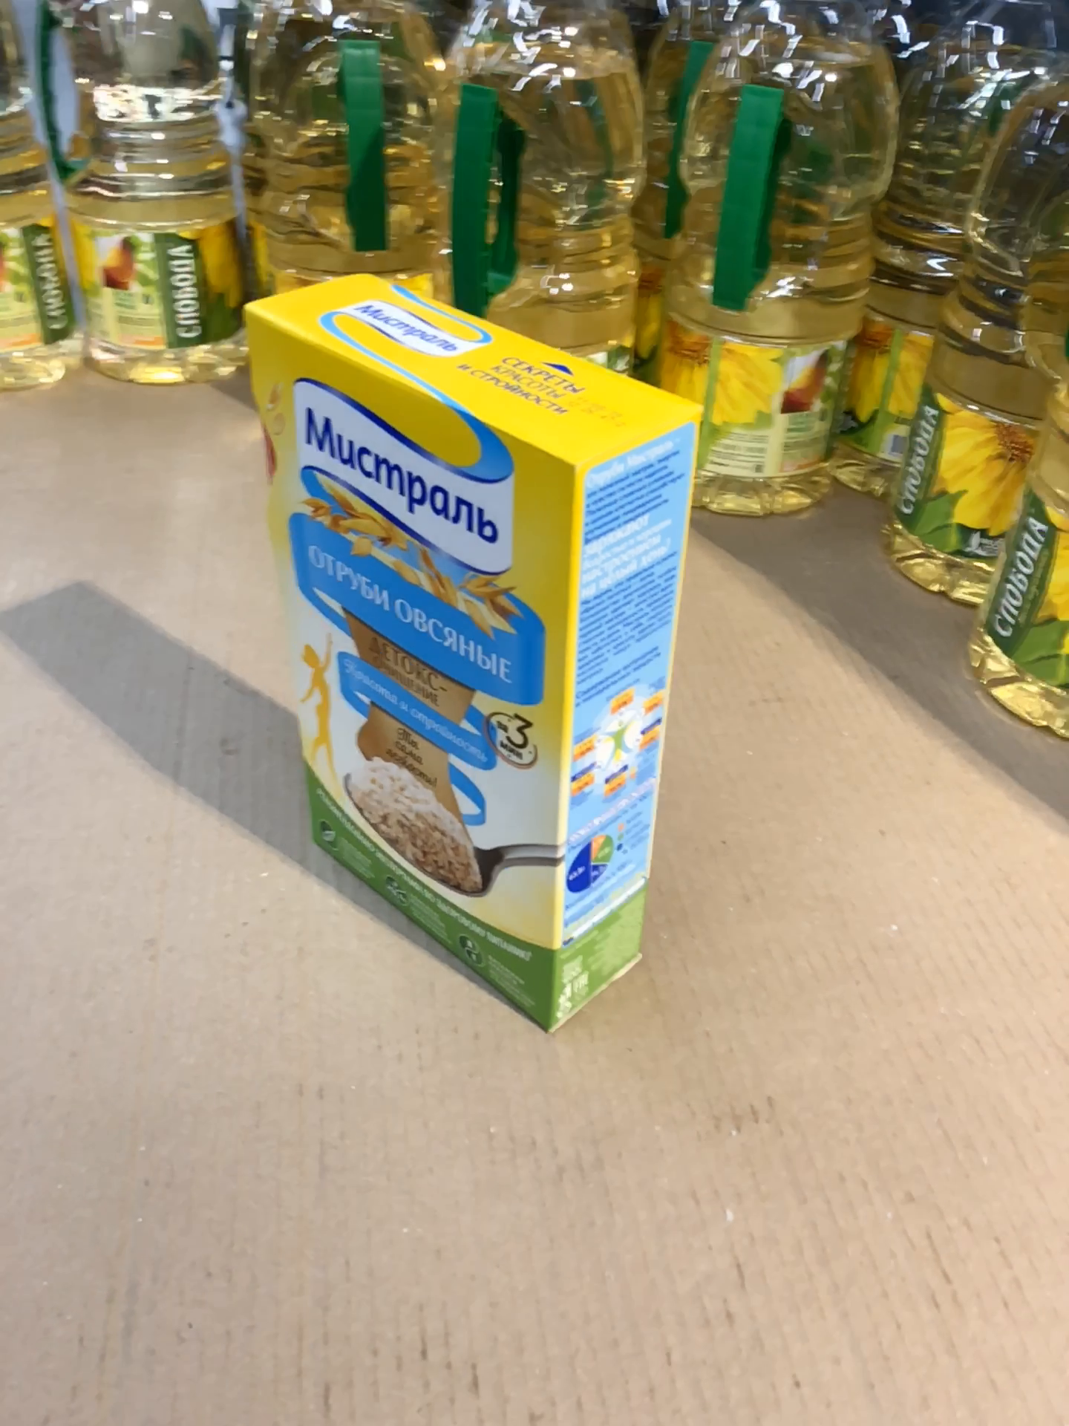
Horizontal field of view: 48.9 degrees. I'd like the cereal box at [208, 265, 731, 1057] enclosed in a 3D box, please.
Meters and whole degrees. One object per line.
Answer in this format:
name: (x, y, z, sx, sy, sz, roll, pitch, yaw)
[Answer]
cereal box: (-0.025, -0.014, 0.377, 0.150, 0.209, 0.050, 31, 47, 33)
